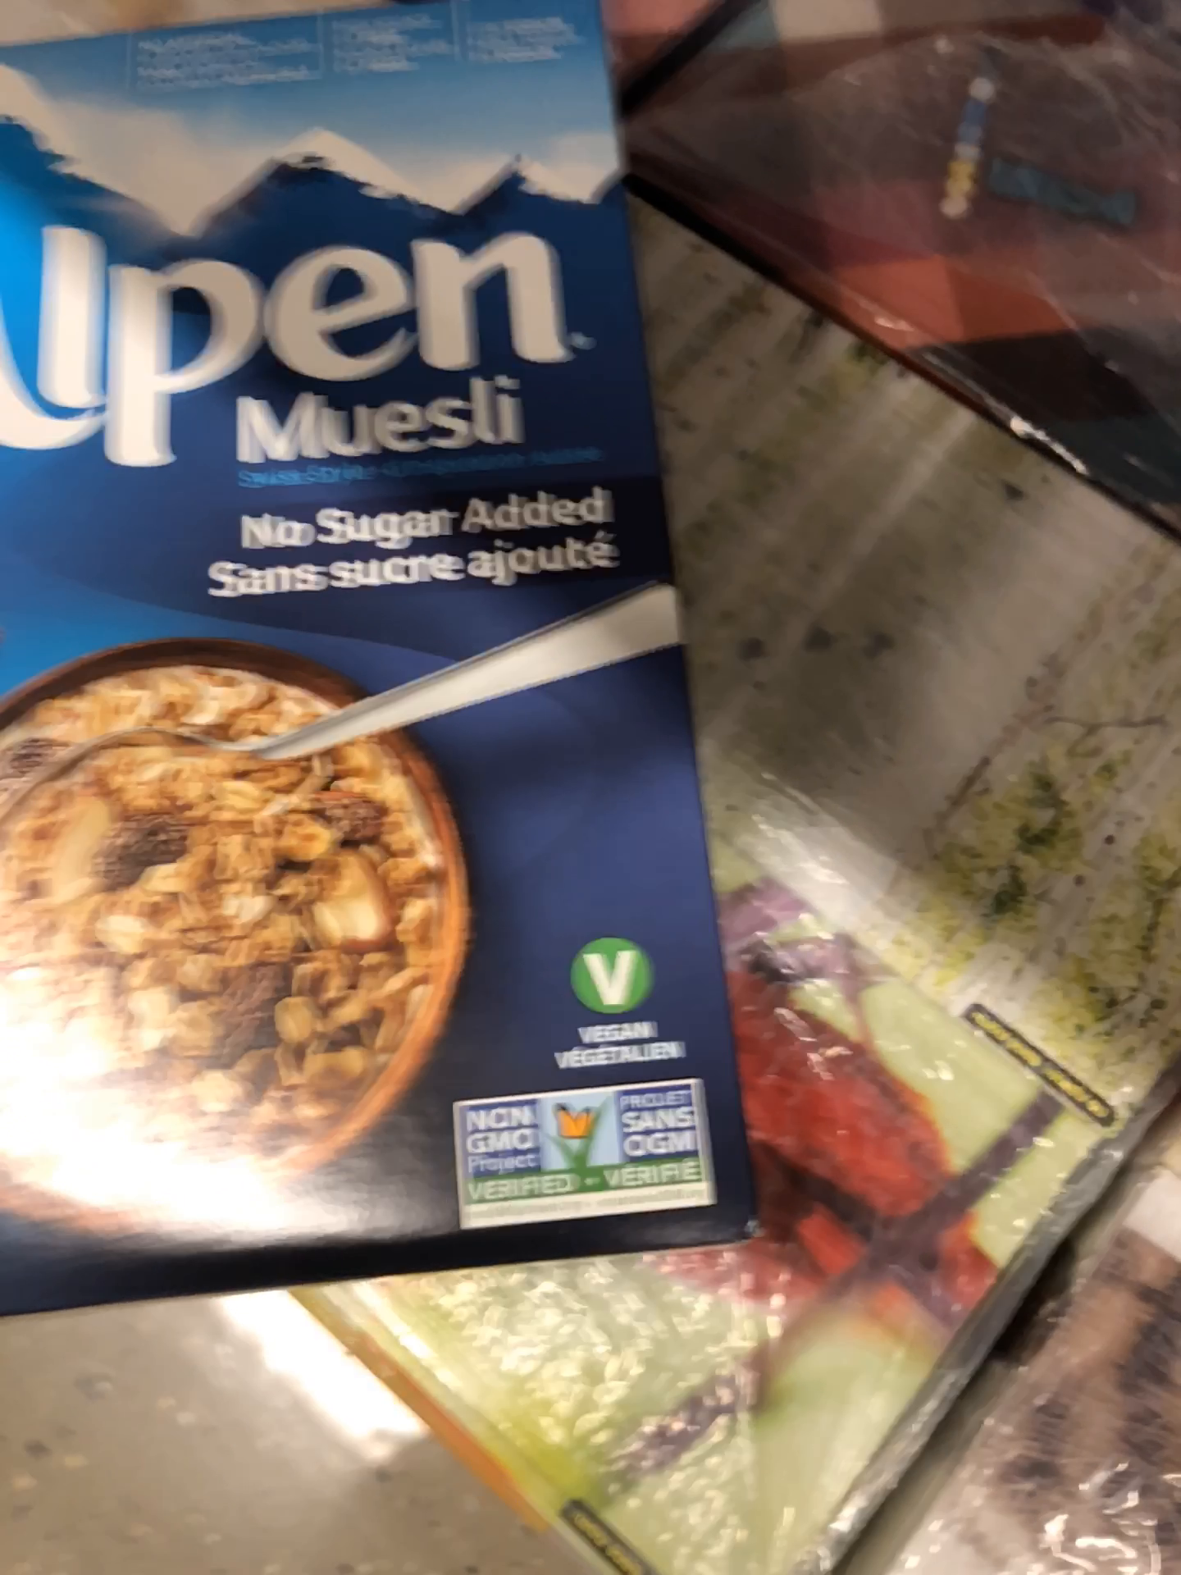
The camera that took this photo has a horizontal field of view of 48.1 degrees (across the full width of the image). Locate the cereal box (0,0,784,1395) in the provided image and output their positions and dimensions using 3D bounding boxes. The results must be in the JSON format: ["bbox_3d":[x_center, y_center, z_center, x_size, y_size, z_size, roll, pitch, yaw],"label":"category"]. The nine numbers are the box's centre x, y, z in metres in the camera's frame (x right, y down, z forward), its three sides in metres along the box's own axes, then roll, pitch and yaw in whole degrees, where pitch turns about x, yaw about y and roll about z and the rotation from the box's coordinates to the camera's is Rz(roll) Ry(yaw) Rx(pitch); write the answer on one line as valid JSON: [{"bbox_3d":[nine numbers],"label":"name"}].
[{"bbox_3d":[-0.081,-0.046,0.249,0.190,0.050,0.270,-6,72,0],"label":"cereal box"}]
